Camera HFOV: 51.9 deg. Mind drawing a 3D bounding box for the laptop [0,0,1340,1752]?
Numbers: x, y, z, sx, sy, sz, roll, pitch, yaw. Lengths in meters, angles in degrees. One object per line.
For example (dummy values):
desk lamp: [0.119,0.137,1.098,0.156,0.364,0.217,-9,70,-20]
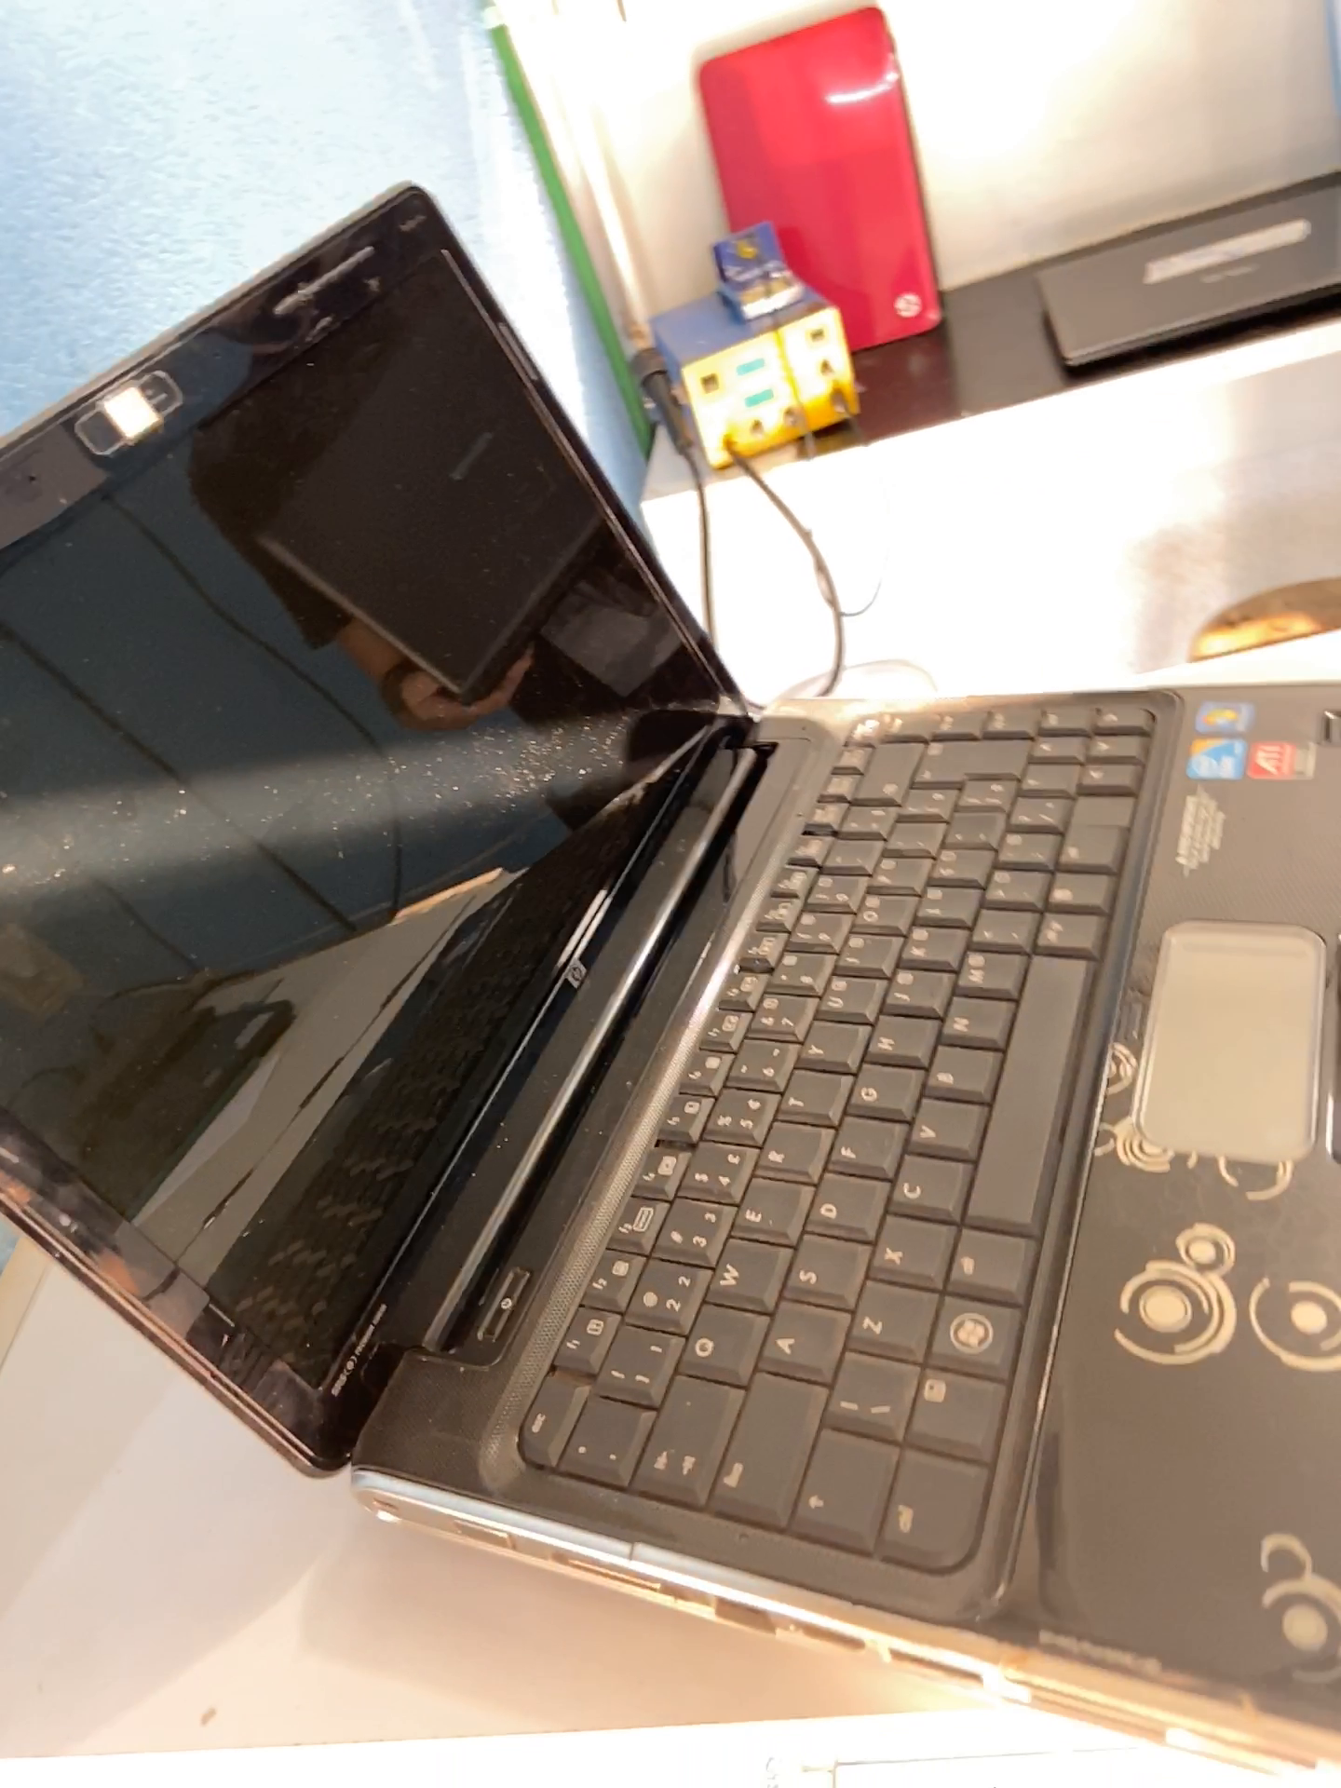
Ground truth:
laptop: [0.013,-0.047,0.344,0.302,0.210,0.323,1,41,28]
